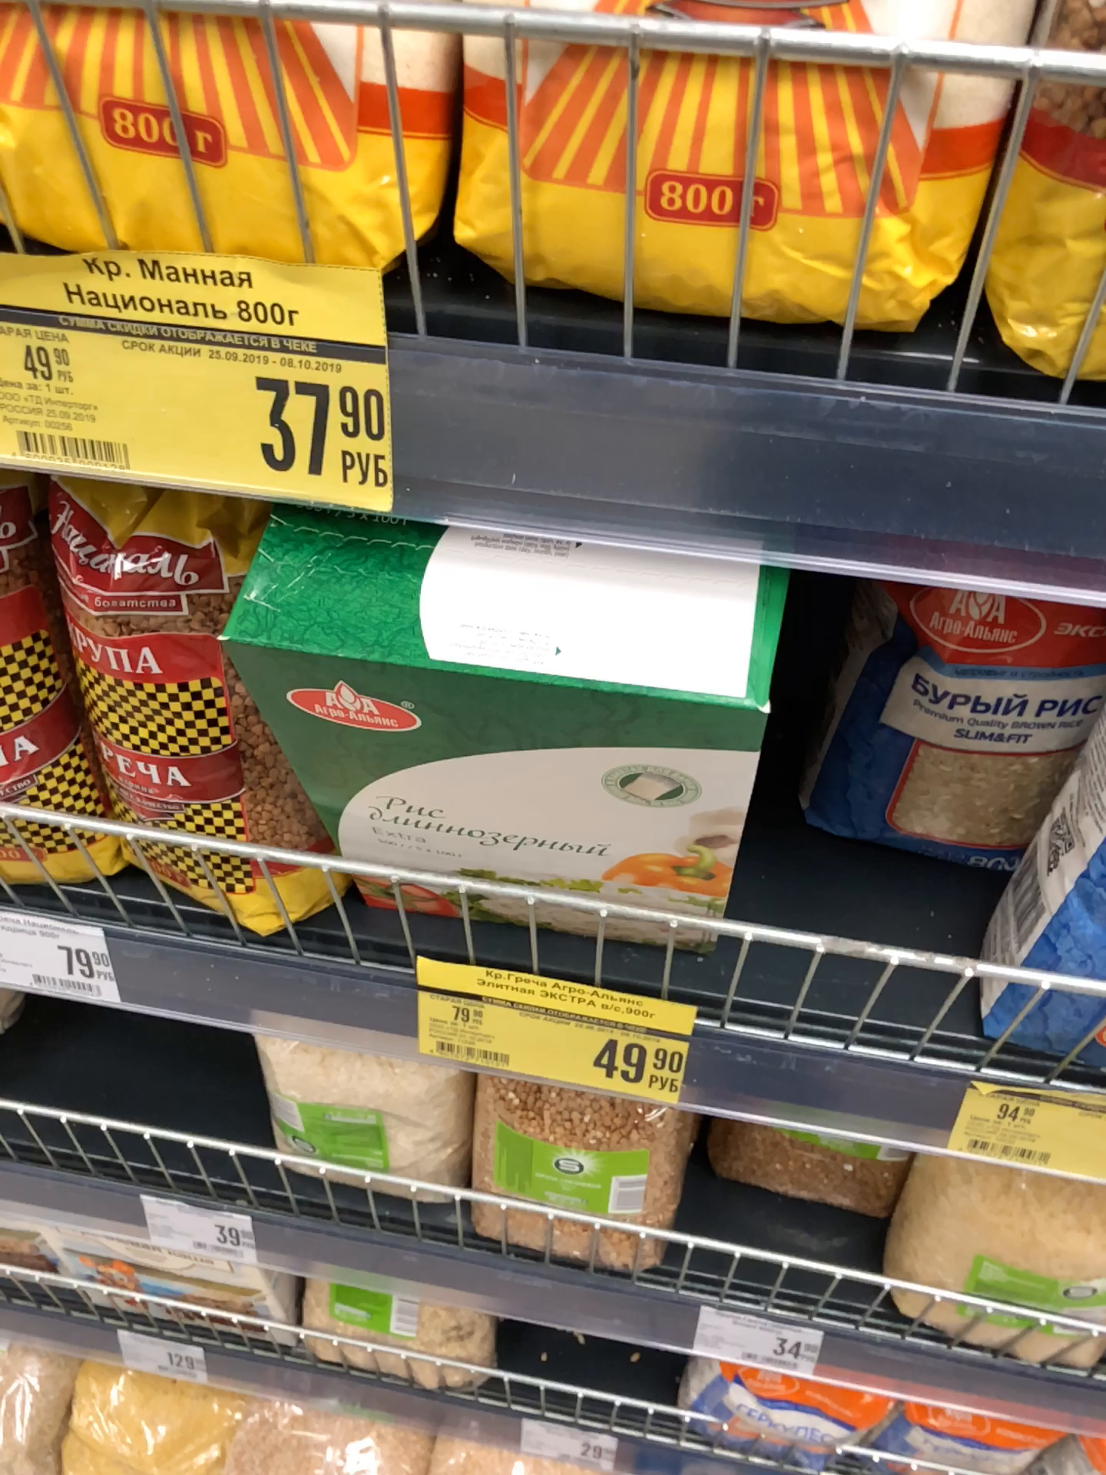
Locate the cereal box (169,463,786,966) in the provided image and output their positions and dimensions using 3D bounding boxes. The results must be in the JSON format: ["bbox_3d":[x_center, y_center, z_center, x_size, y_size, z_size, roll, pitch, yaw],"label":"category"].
[{"bbox_3d":[-0.012,0.008,0.385,0.140,0.209,0.050,8,65,7],"label":"cereal box"}]
